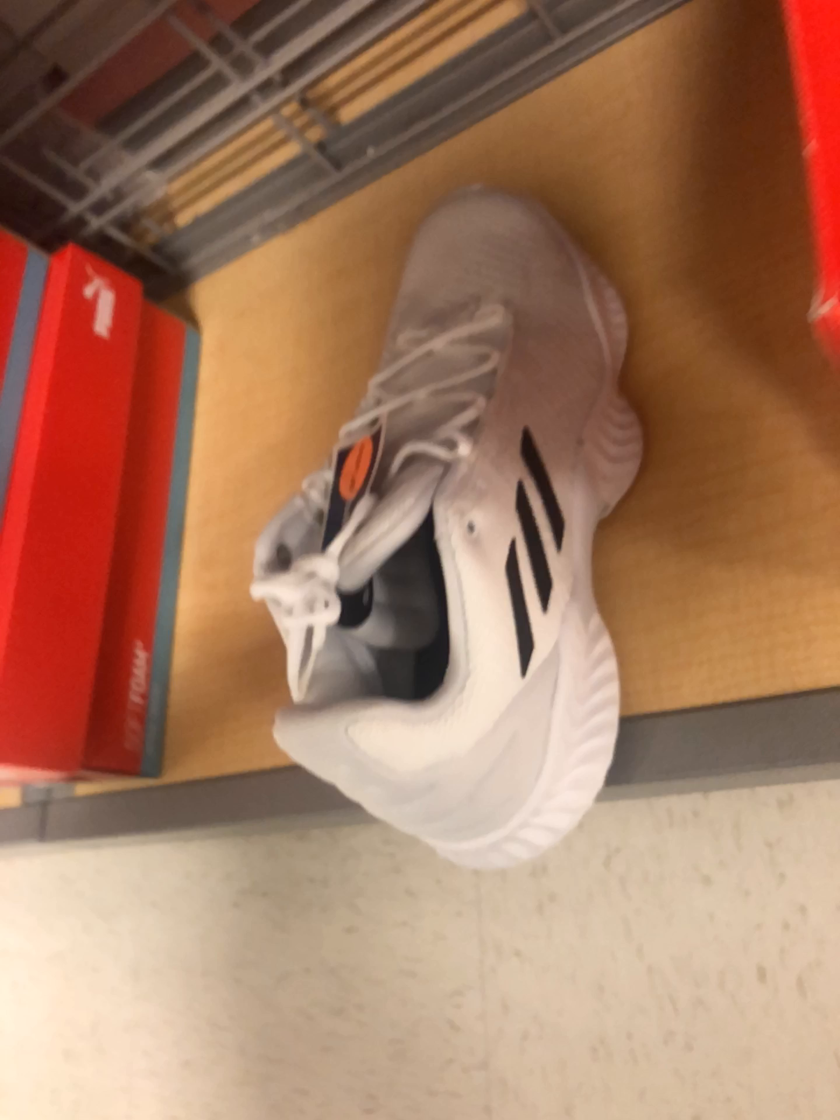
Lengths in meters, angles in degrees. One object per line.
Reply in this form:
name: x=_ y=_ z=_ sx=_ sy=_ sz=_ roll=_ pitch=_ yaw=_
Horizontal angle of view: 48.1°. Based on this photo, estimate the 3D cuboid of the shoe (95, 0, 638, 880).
shoe: x=-0.001 y=-0.055 z=0.375 sx=0.121 sy=0.149 sz=0.335 roll=-8 pitch=69 yaw=35
